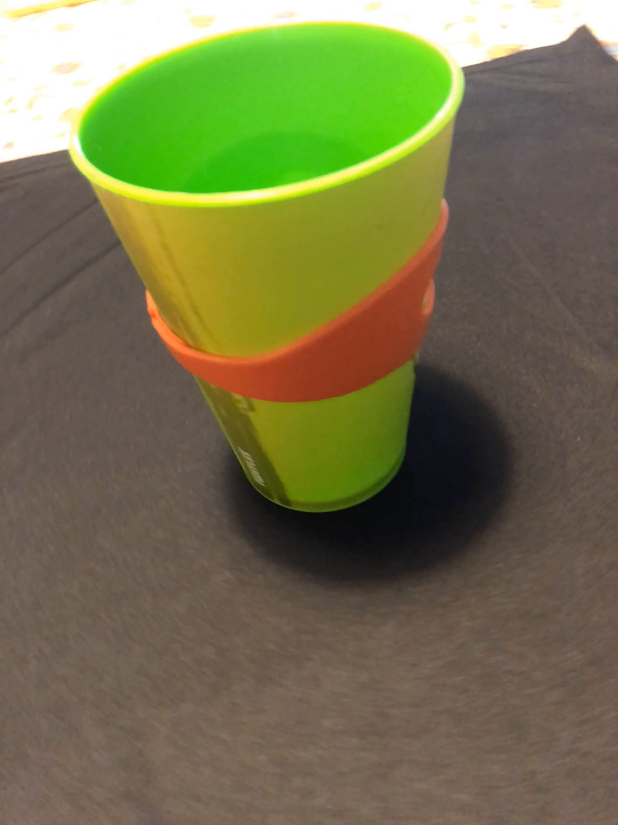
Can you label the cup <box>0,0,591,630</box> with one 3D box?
[{"bbox_3d":[0.000,-0.031,0.222,0.110,0.139,0.100,-5,48,5],"label":"cup"}]
